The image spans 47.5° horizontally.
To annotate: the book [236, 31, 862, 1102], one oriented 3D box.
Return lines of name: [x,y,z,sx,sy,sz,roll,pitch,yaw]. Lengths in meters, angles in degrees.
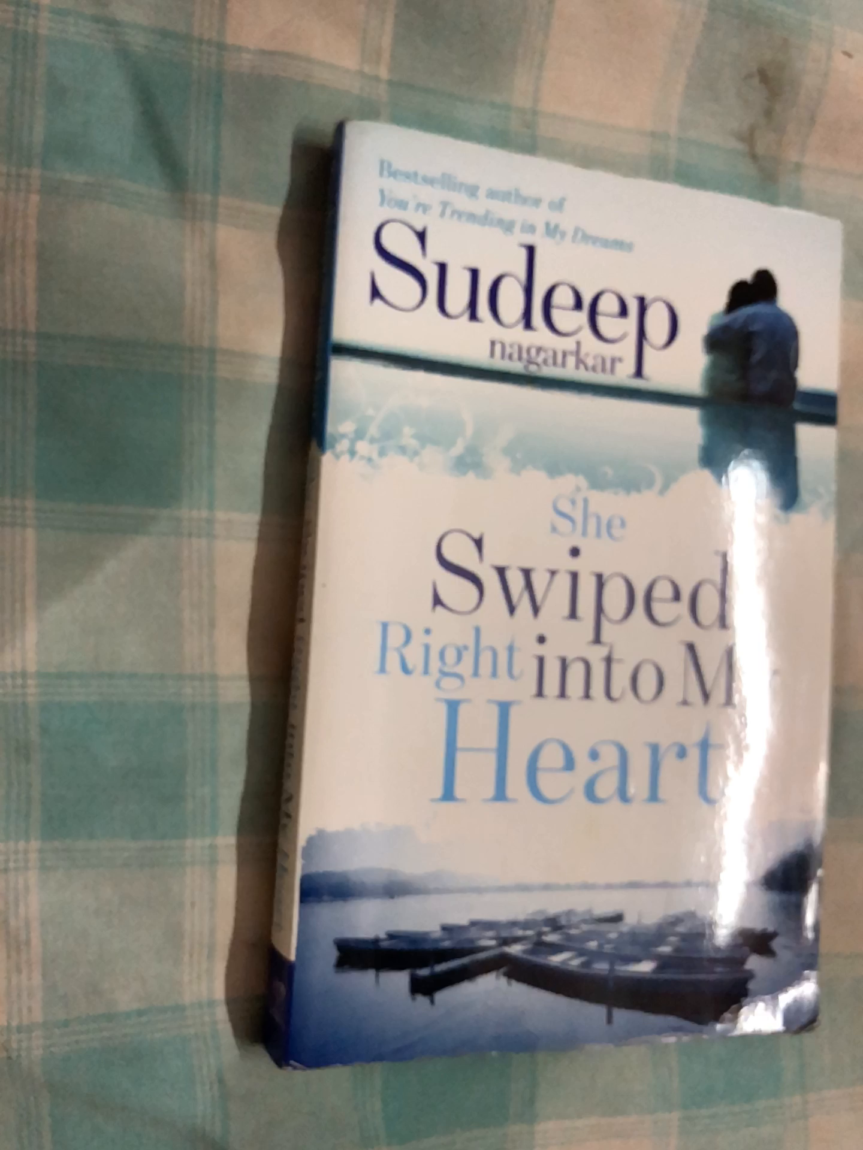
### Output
book: [0.030,0.001,0.225,0.130,0.030,0.210,4,88,-17]
